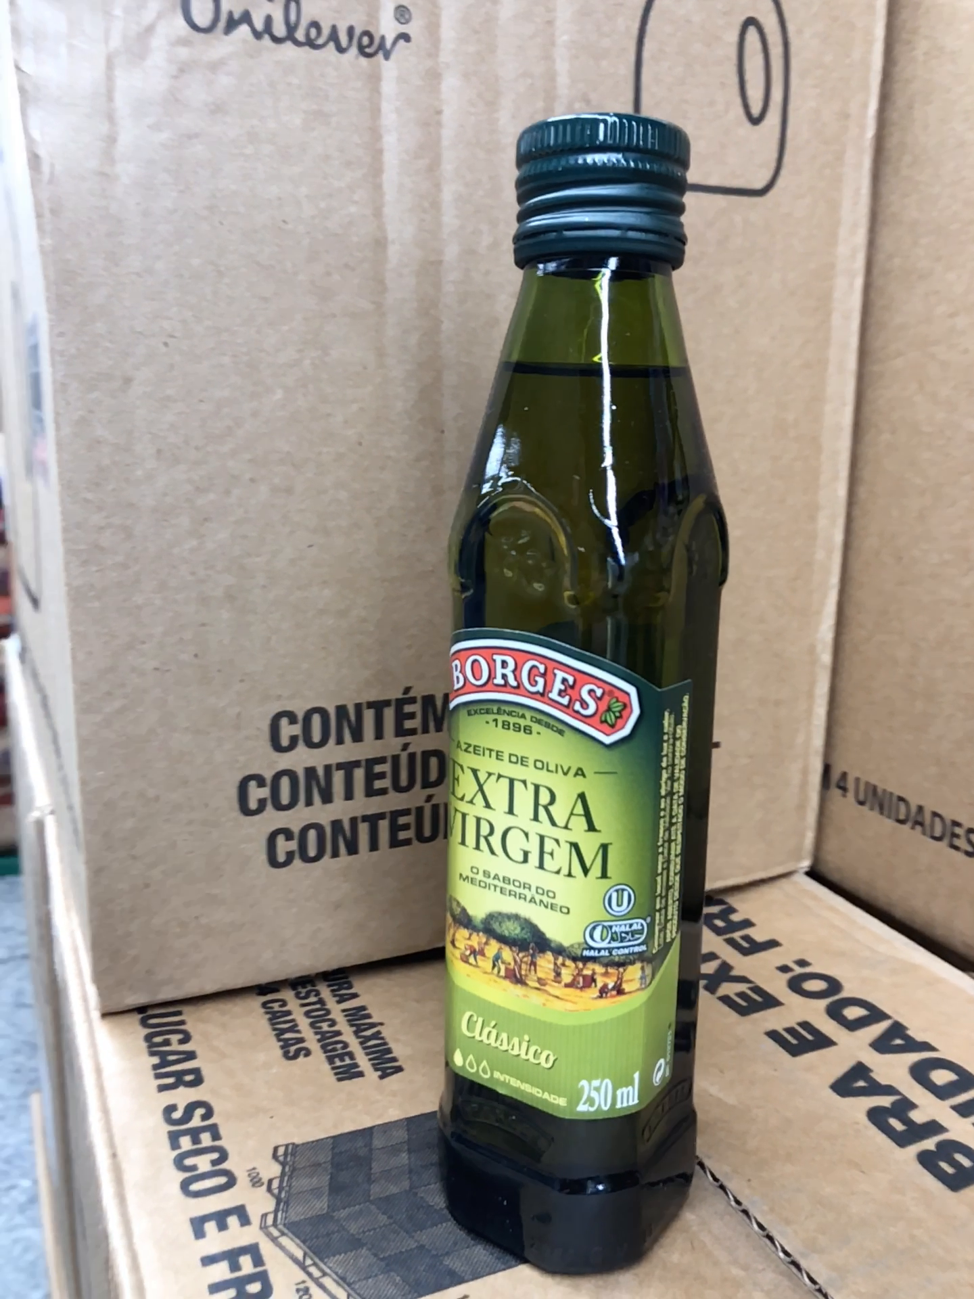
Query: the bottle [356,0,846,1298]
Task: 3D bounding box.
[{"bbox_3d":[0.019,0.002,0.207,0.060,0.219,0.060,2,13,0],"label":"bottle"}]
